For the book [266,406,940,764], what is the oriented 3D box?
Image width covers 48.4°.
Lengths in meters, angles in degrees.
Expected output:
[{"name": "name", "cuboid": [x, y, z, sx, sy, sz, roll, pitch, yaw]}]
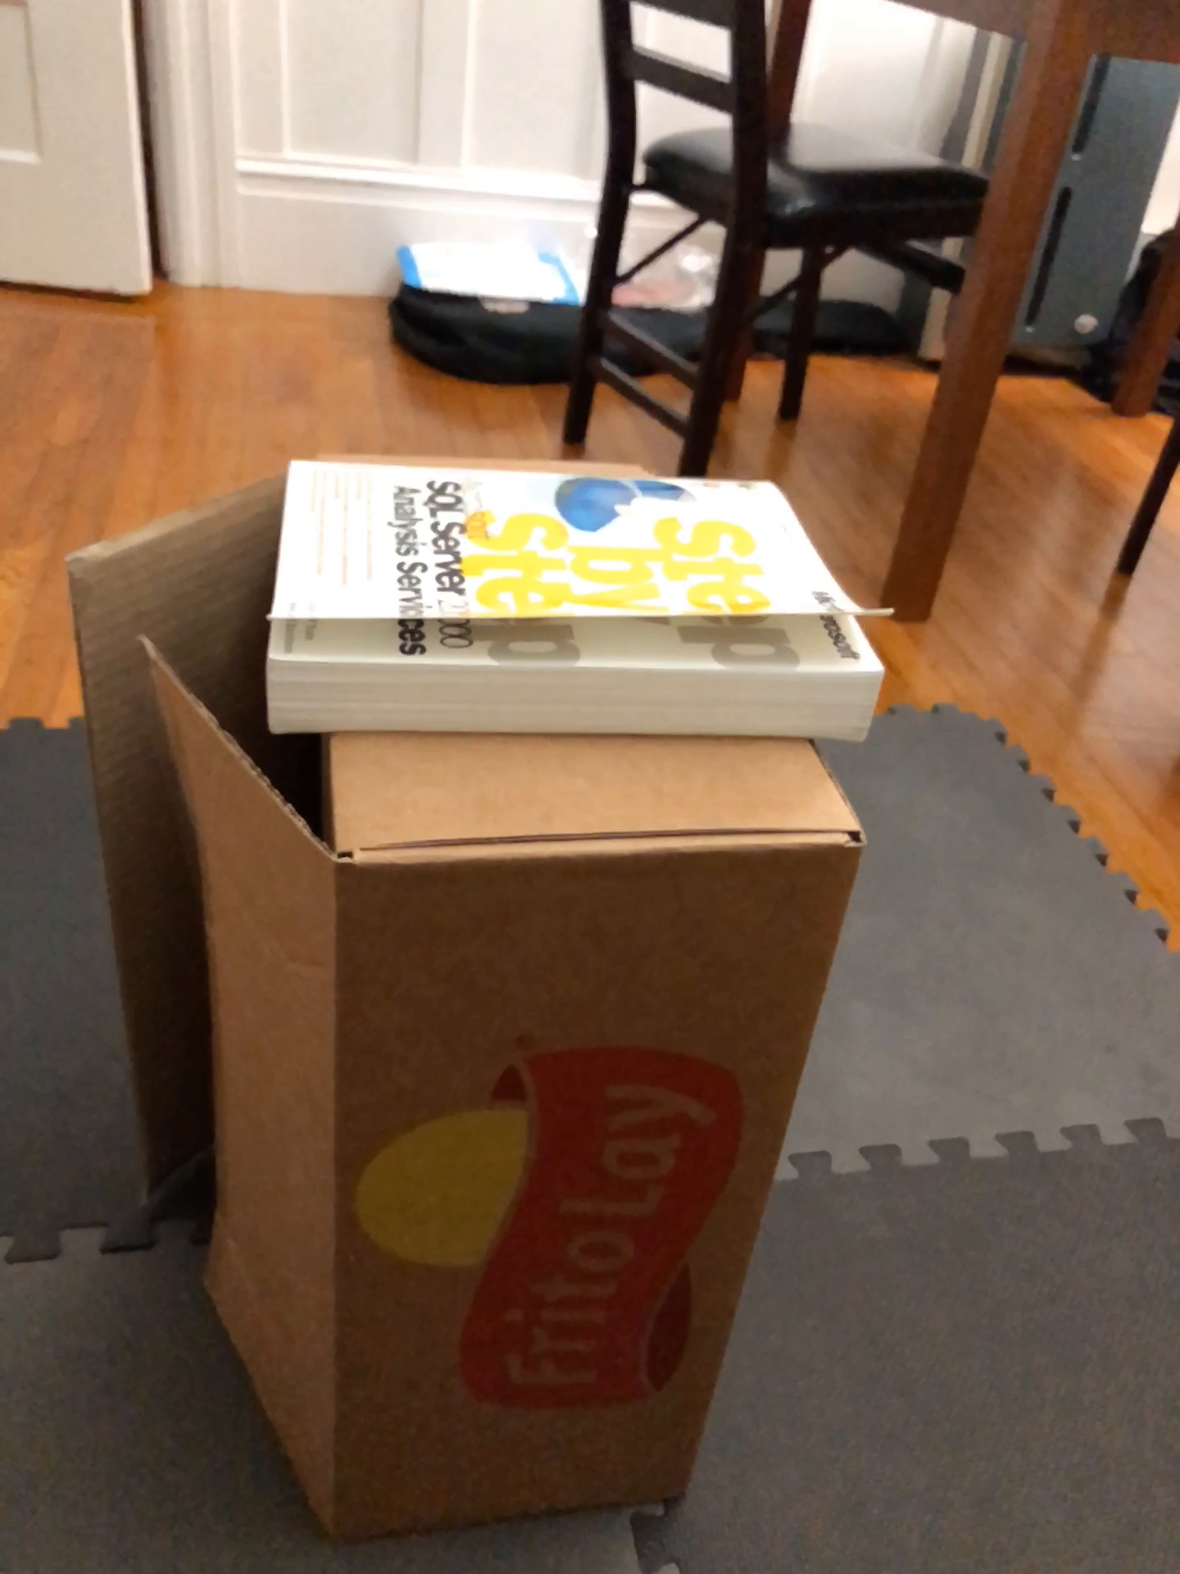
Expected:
[{"name": "book", "cuboid": [-0.008, -0.094, 0.552, 0.240, 0.050, 0.201, -2, 38, -10]}]
